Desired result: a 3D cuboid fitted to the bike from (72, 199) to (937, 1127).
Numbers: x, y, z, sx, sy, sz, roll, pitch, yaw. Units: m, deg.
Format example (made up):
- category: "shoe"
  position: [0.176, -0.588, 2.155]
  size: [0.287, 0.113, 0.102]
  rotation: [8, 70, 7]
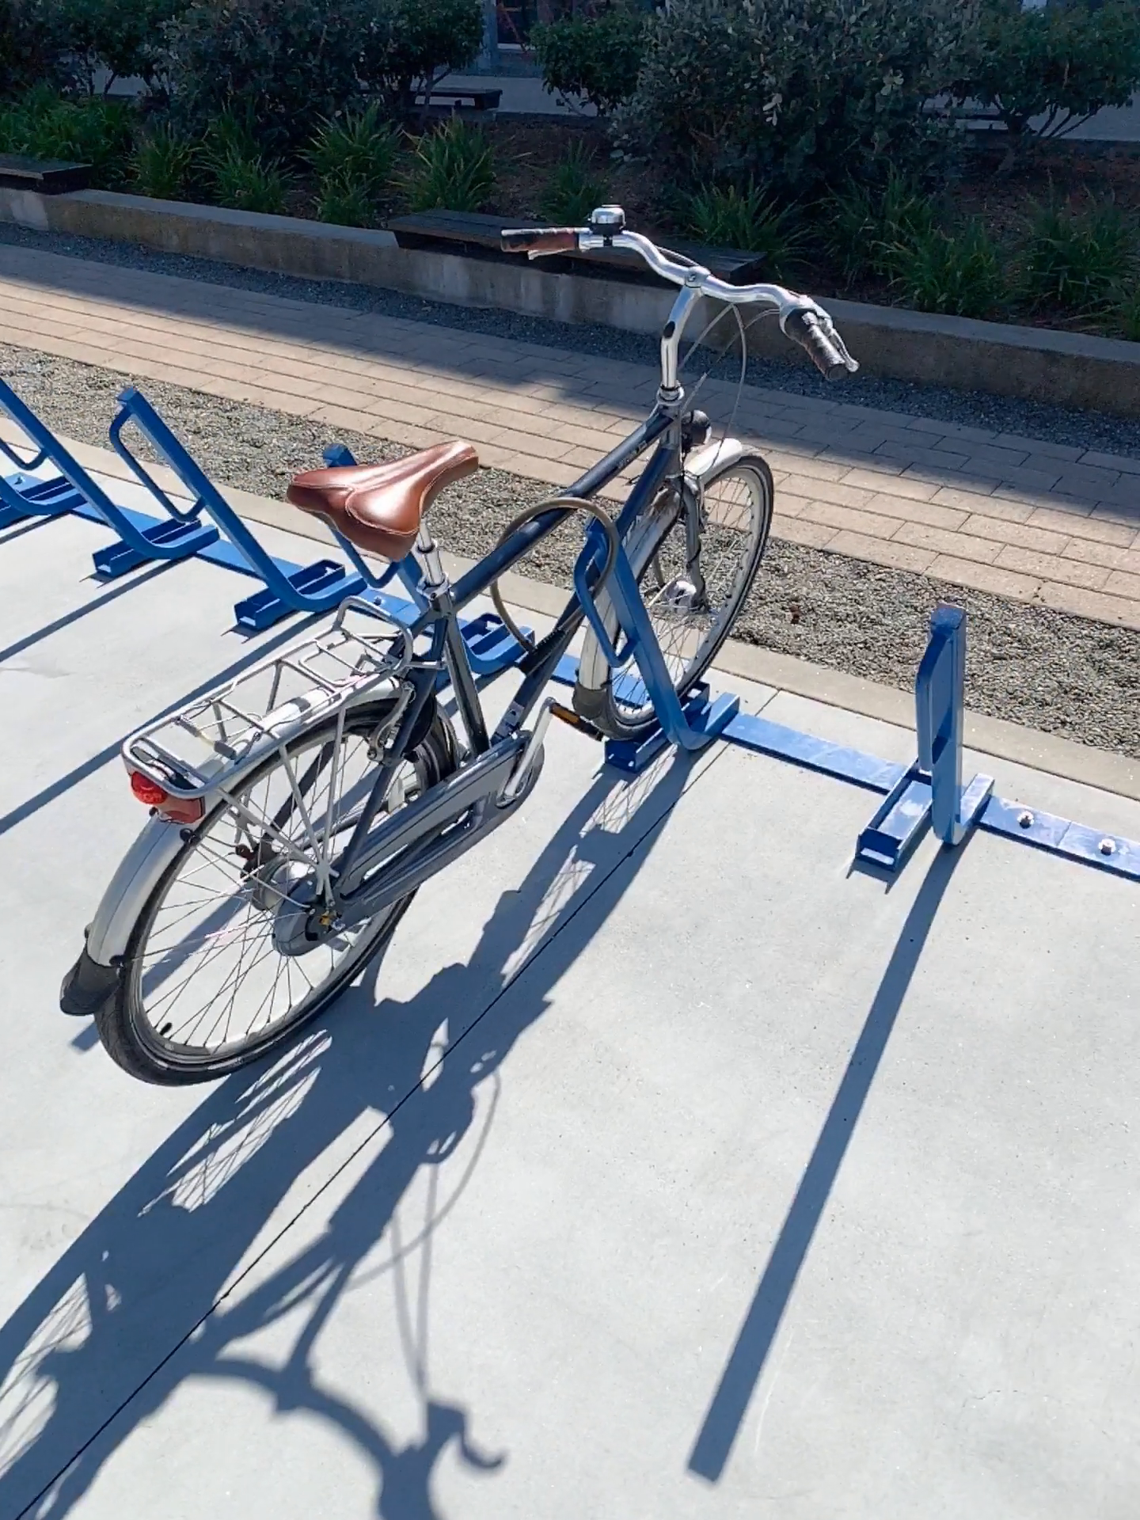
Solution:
- category: "bike"
  position: [-0.010, -0.239, 1.785]
  size: [0.592, 0.915, 1.064]
  rotation: [24, 42, 30]
